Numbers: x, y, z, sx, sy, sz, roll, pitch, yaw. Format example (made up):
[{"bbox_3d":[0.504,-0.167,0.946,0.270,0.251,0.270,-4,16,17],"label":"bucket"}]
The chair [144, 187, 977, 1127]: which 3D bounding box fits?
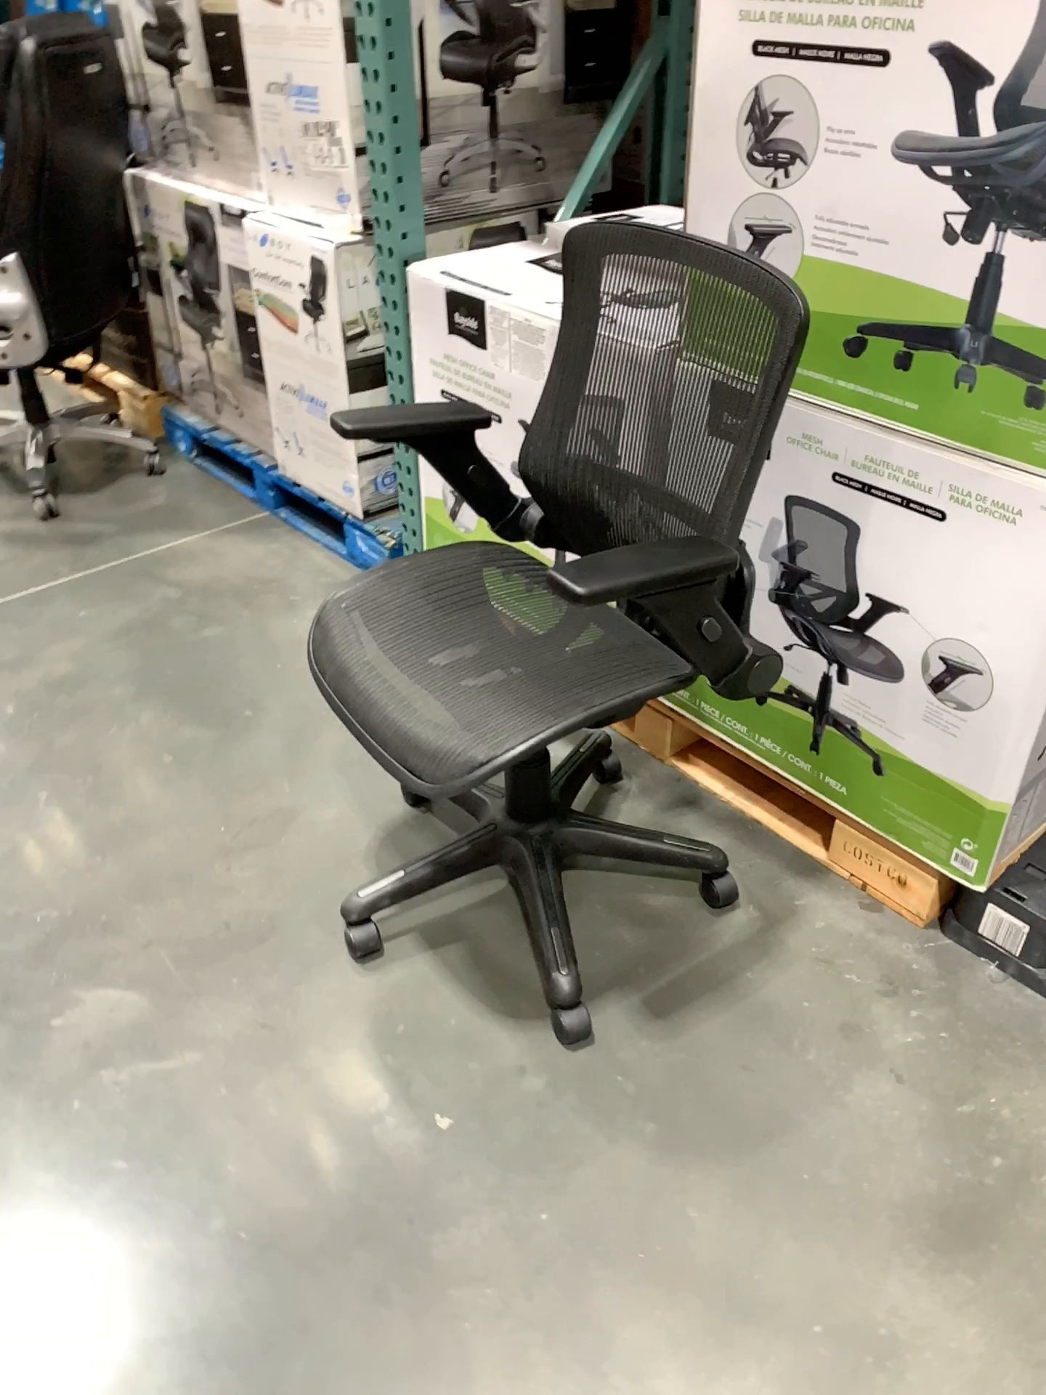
[{"bbox_3d":[0.017,-0.107,1.545,0.736,0.987,0.678,-20,39,-25],"label":"chair"}]
